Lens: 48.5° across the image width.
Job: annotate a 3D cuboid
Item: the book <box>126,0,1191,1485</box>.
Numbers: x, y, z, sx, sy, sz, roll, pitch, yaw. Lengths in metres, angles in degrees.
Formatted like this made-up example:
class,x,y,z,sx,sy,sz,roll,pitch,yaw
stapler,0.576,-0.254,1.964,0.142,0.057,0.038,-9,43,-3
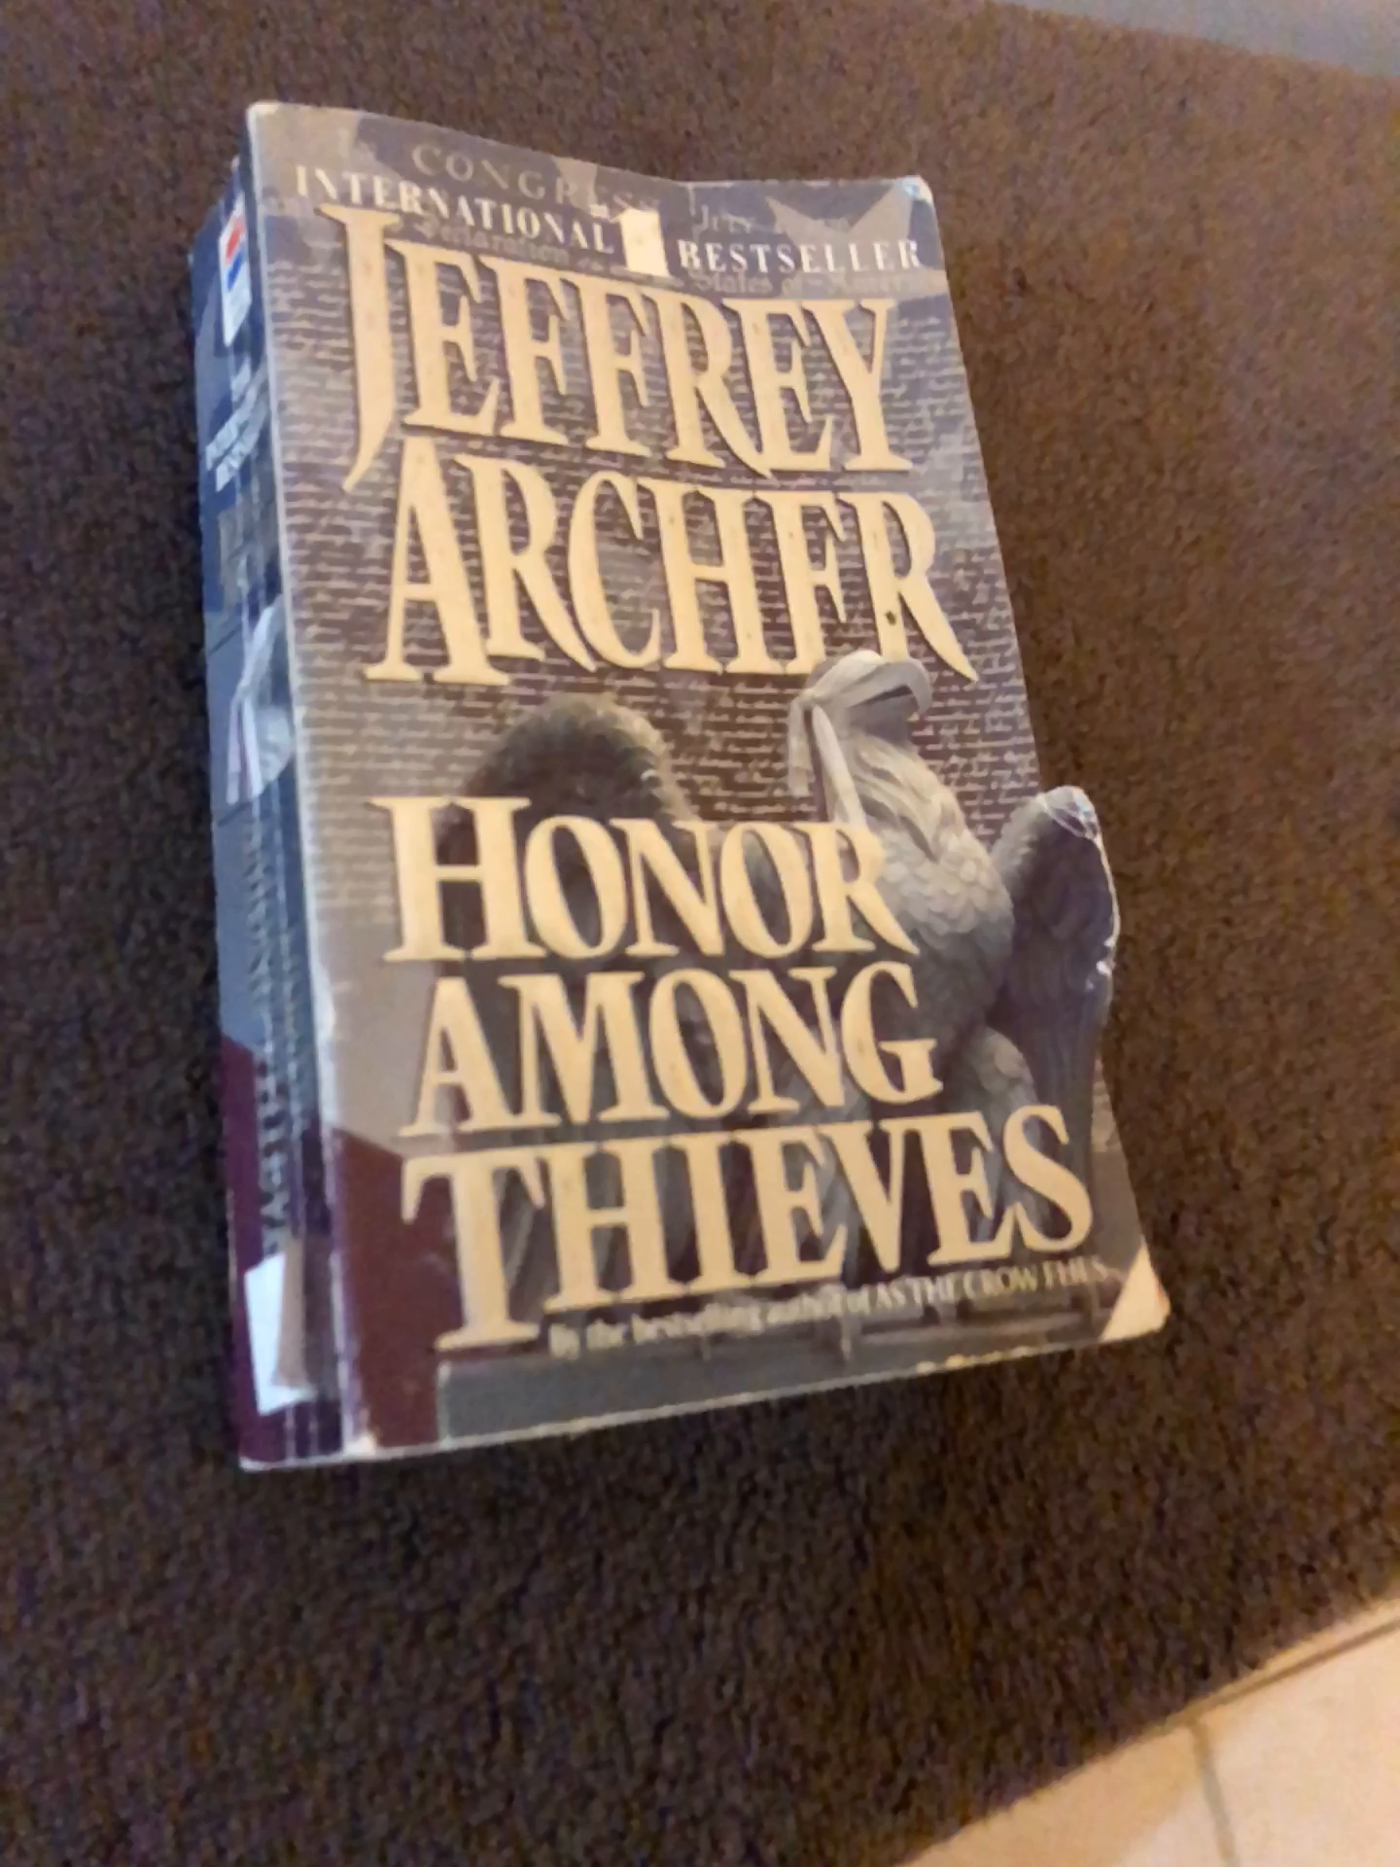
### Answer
class,x,y,z,sx,sy,sz,roll,pitch,yaw
book,-0.011,-0.032,0.216,0.120,0.040,0.190,1,72,-27
